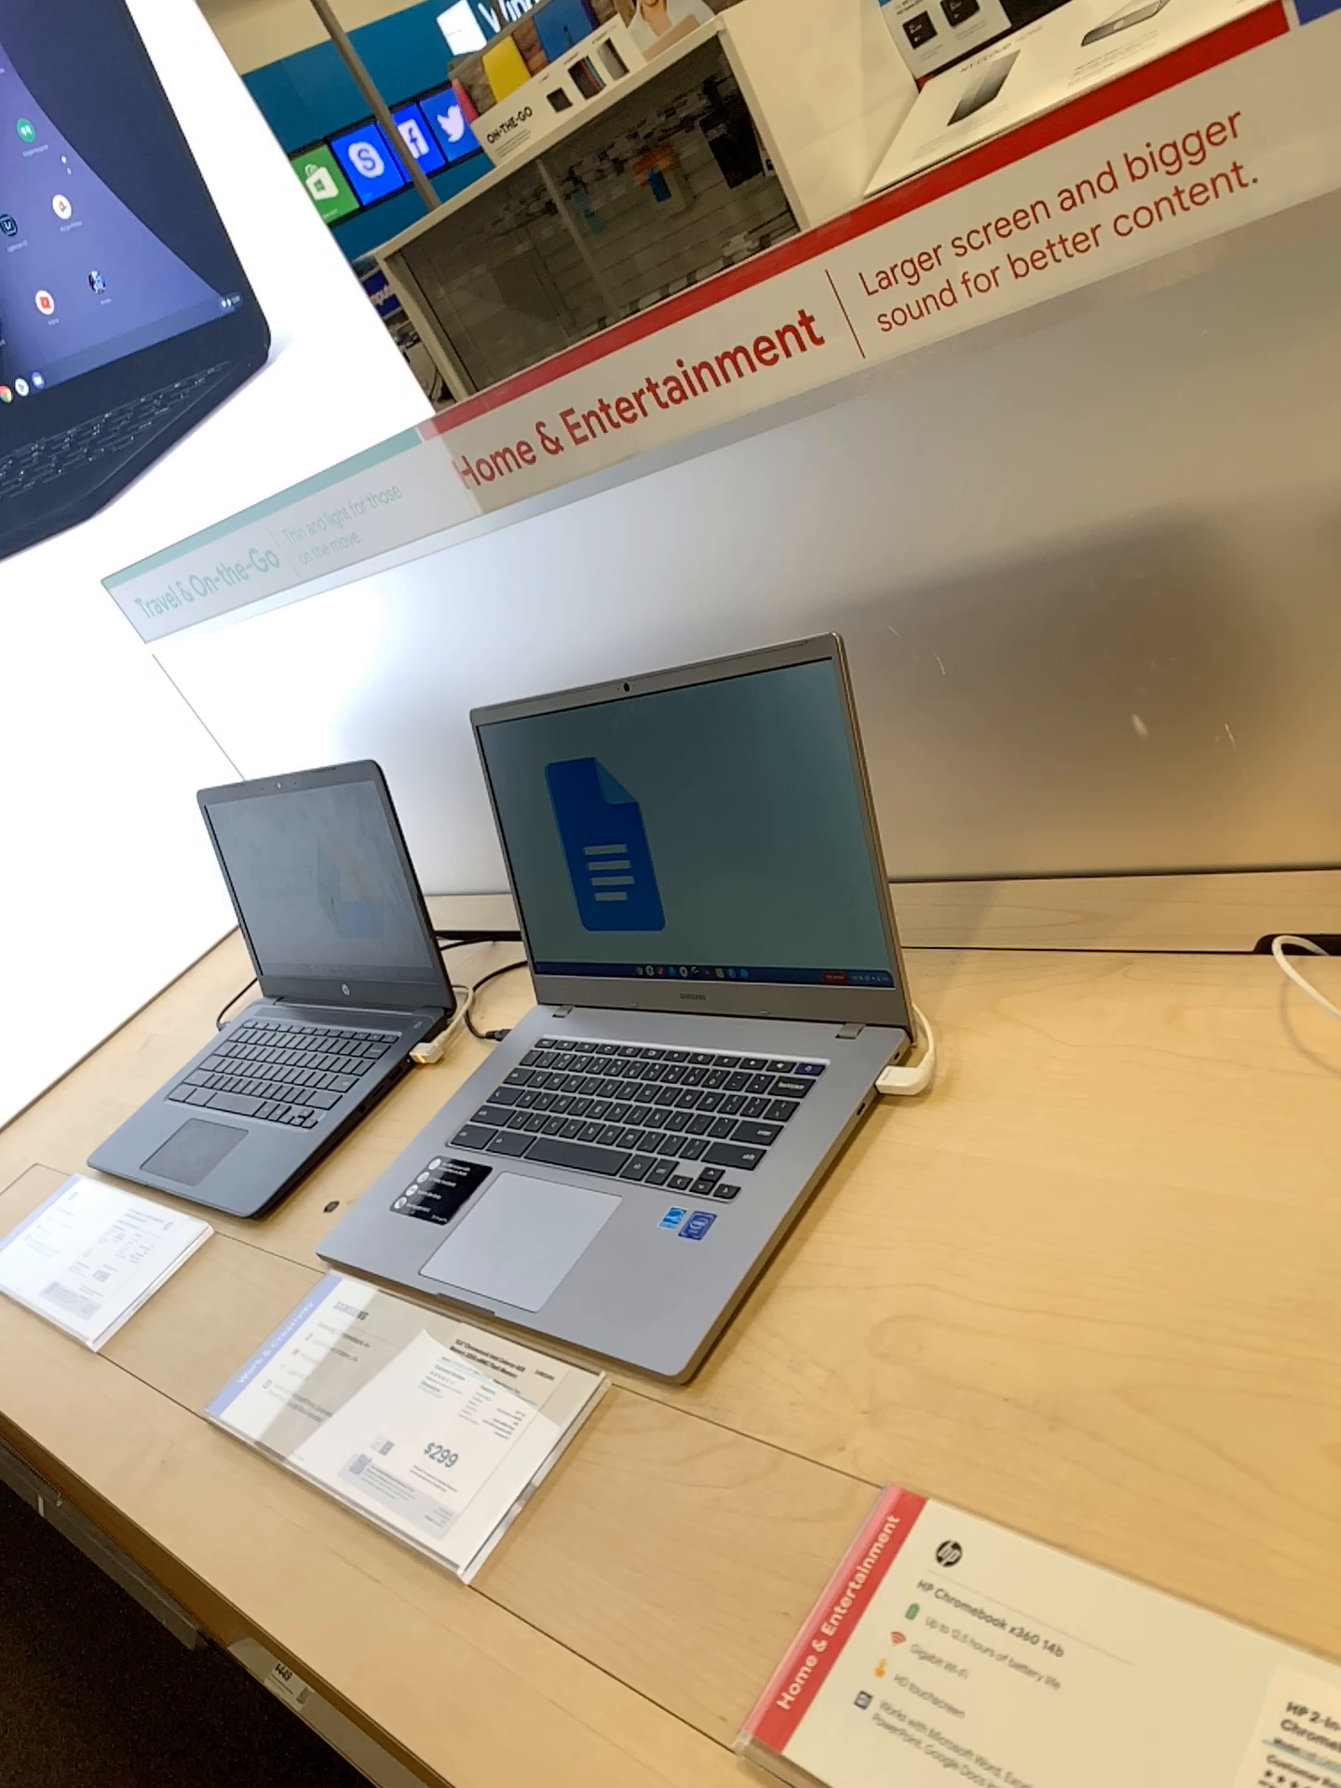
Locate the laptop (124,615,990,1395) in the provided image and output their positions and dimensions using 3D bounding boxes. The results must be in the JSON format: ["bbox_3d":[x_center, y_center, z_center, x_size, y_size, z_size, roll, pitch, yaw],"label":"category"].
[{"bbox_3d":[-0.068,0.044,0.815,0.353,0.205,0.337,-2,39,47],"label":"laptop"}]

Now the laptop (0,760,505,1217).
[{"bbox_3d":[-0.371,0.064,1.141,0.322,0.193,0.294,-2,37,46],"label":"laptop"}]
